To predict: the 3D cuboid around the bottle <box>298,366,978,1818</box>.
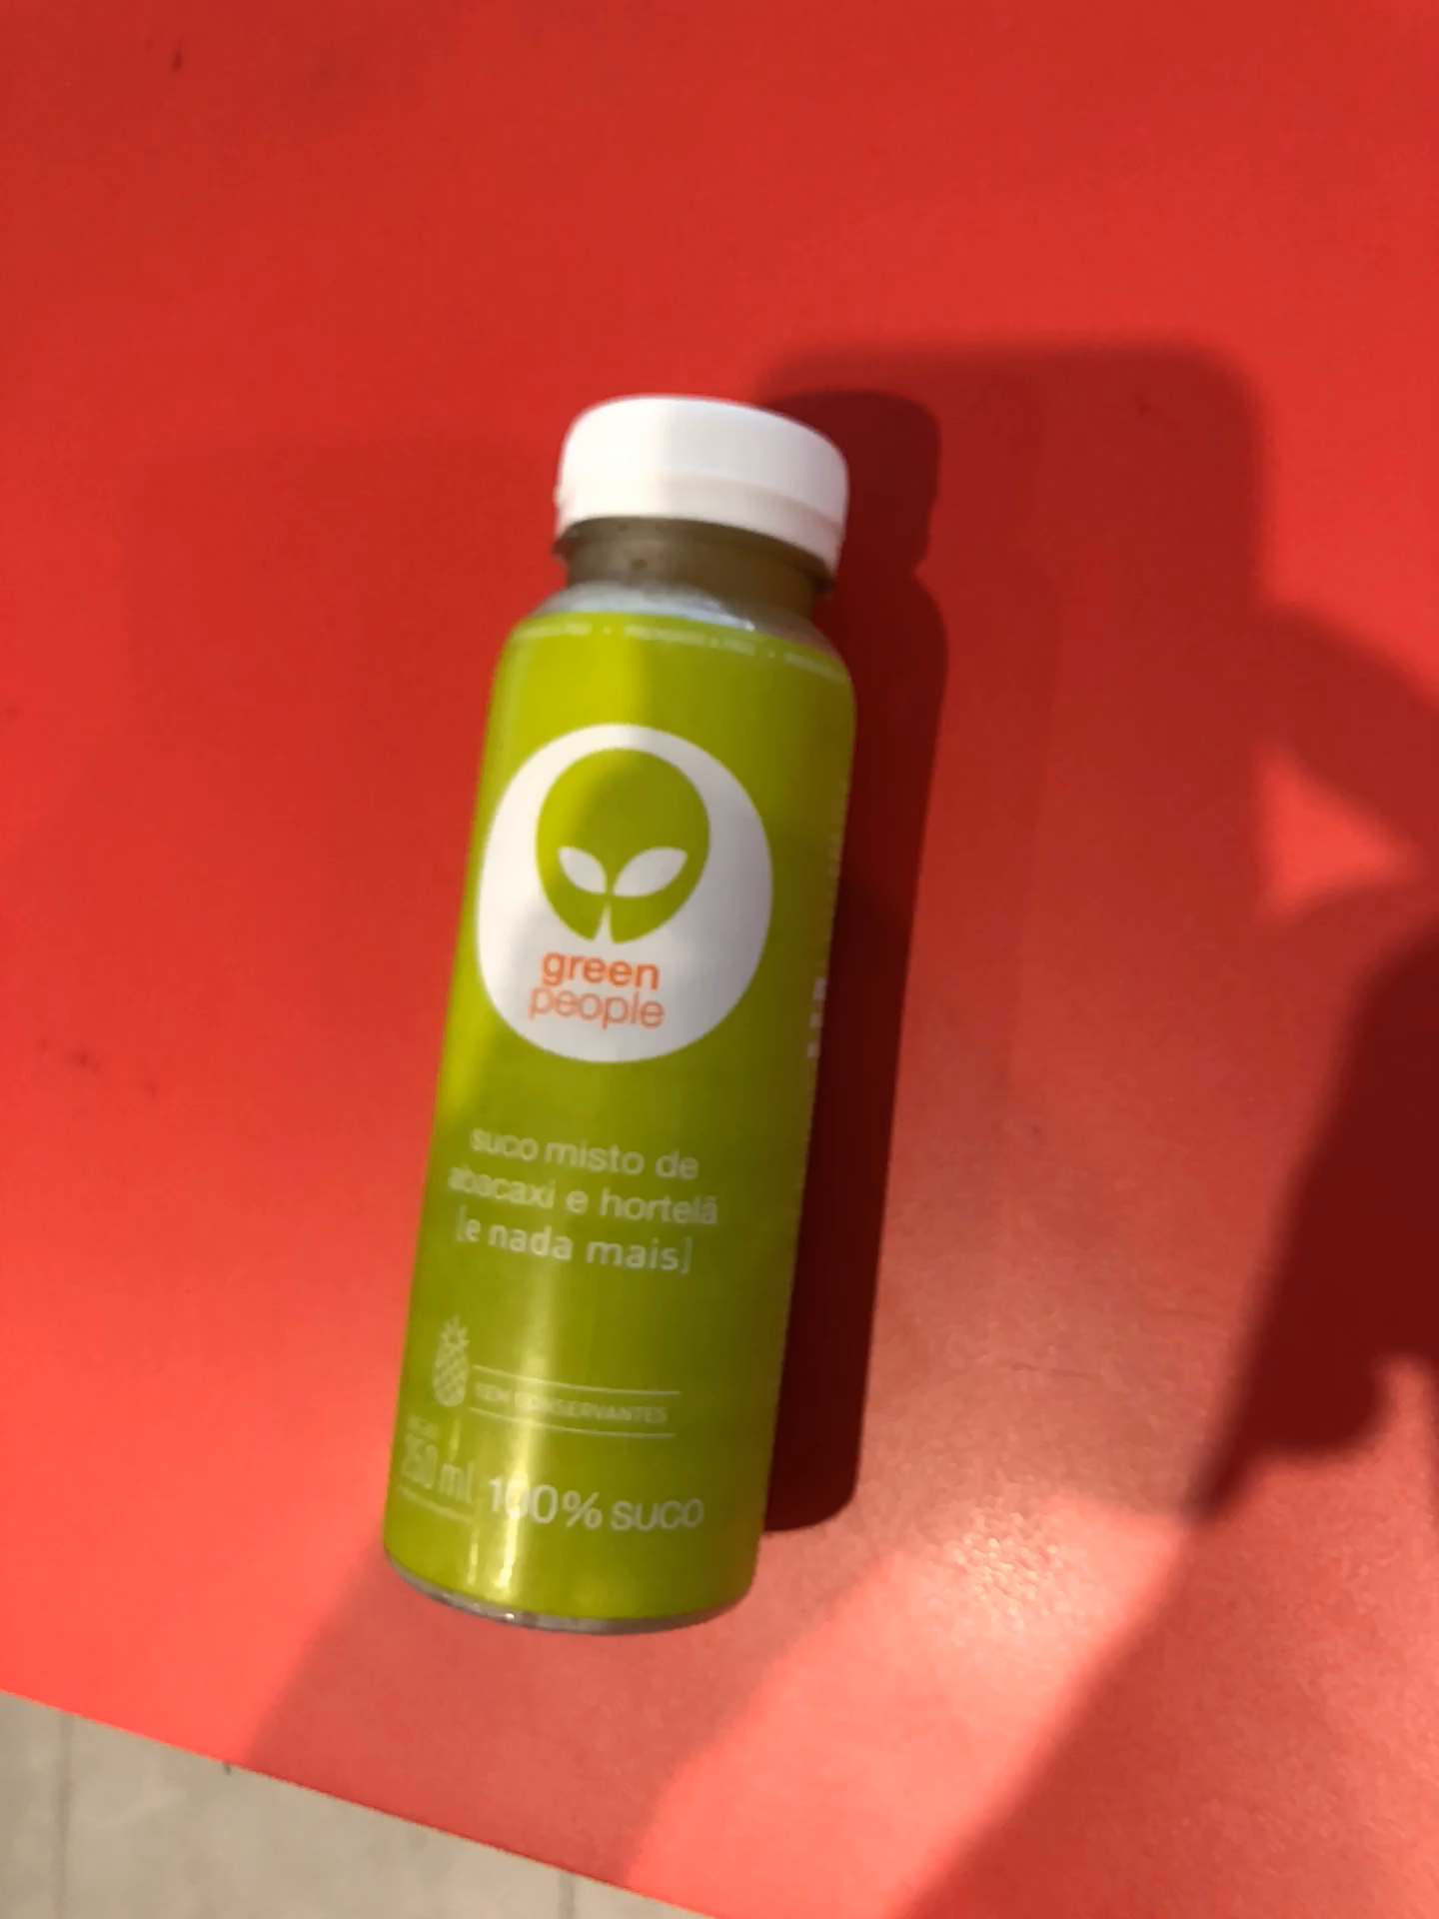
[{"bbox_3d":[-0.008,0.016,0.223,0.060,0.050,0.170,9,95,9],"label":"bottle"}]
